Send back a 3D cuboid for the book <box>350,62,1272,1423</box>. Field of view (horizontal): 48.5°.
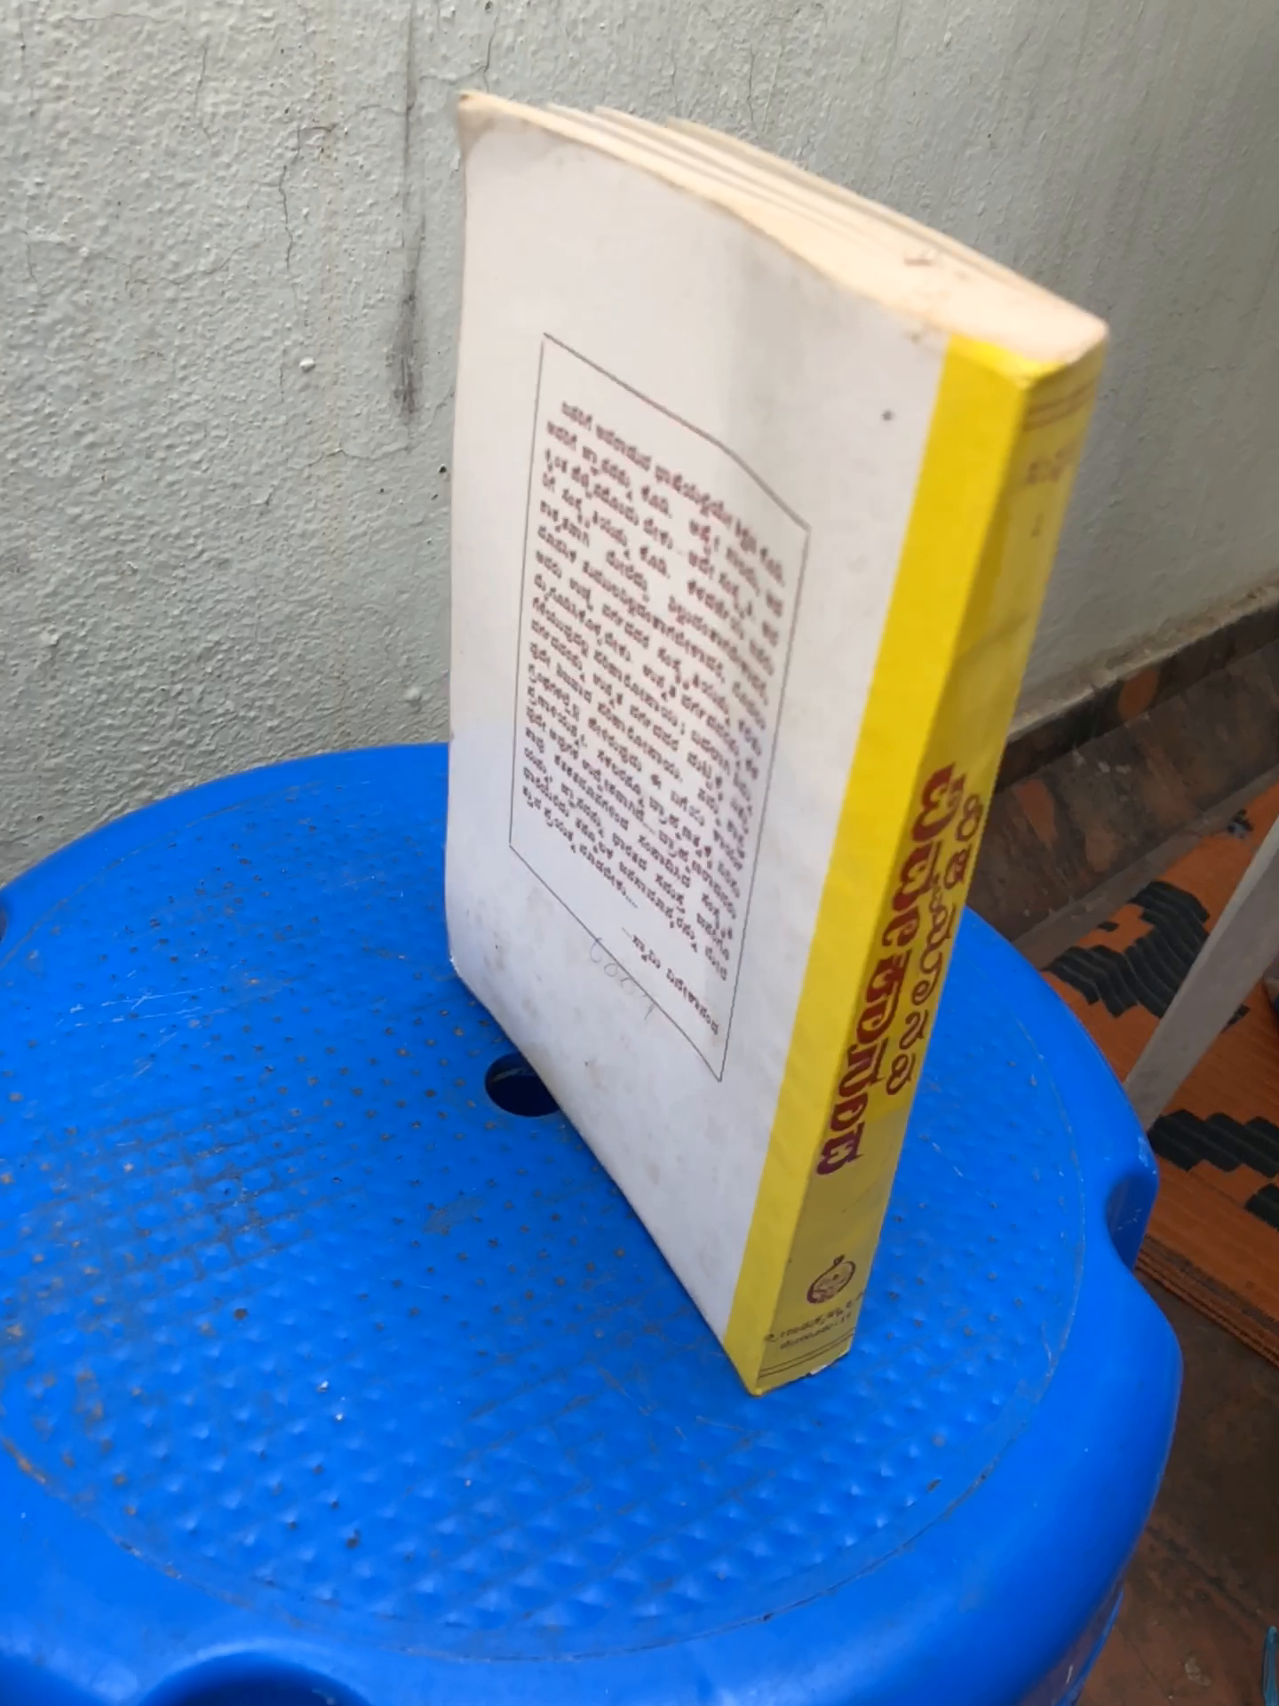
[{"bbox_3d":[0.003,-0.030,0.286,0.050,0.199,0.191,-15,41,-25],"label":"book"}]
